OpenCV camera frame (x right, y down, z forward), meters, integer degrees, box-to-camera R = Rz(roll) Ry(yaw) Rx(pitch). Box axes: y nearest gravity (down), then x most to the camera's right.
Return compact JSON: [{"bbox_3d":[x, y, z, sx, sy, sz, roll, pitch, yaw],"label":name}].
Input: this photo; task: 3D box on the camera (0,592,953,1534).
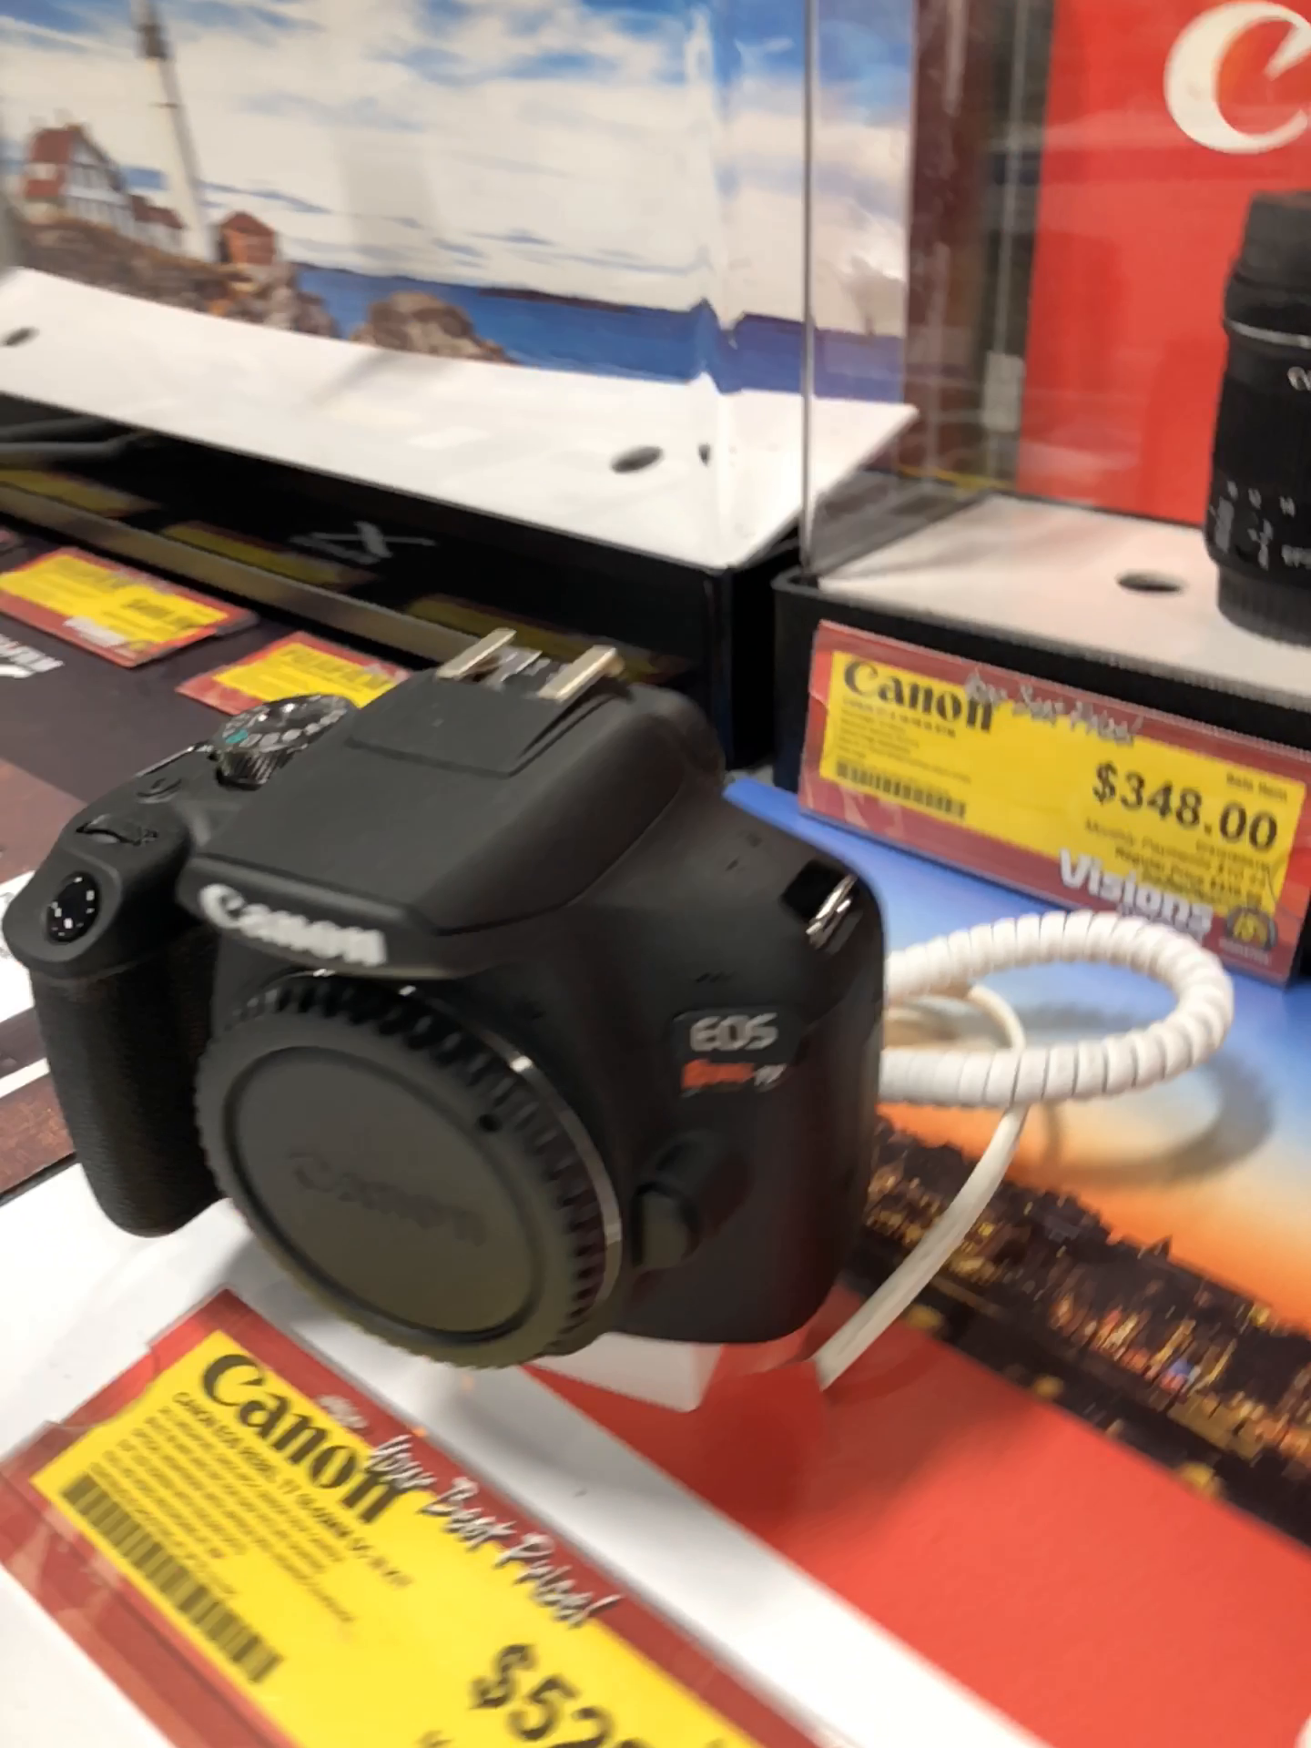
[{"bbox_3d":[-0.030,0.019,0.228,0.130,0.089,0.080,11,32,22],"label":"camera"}]
